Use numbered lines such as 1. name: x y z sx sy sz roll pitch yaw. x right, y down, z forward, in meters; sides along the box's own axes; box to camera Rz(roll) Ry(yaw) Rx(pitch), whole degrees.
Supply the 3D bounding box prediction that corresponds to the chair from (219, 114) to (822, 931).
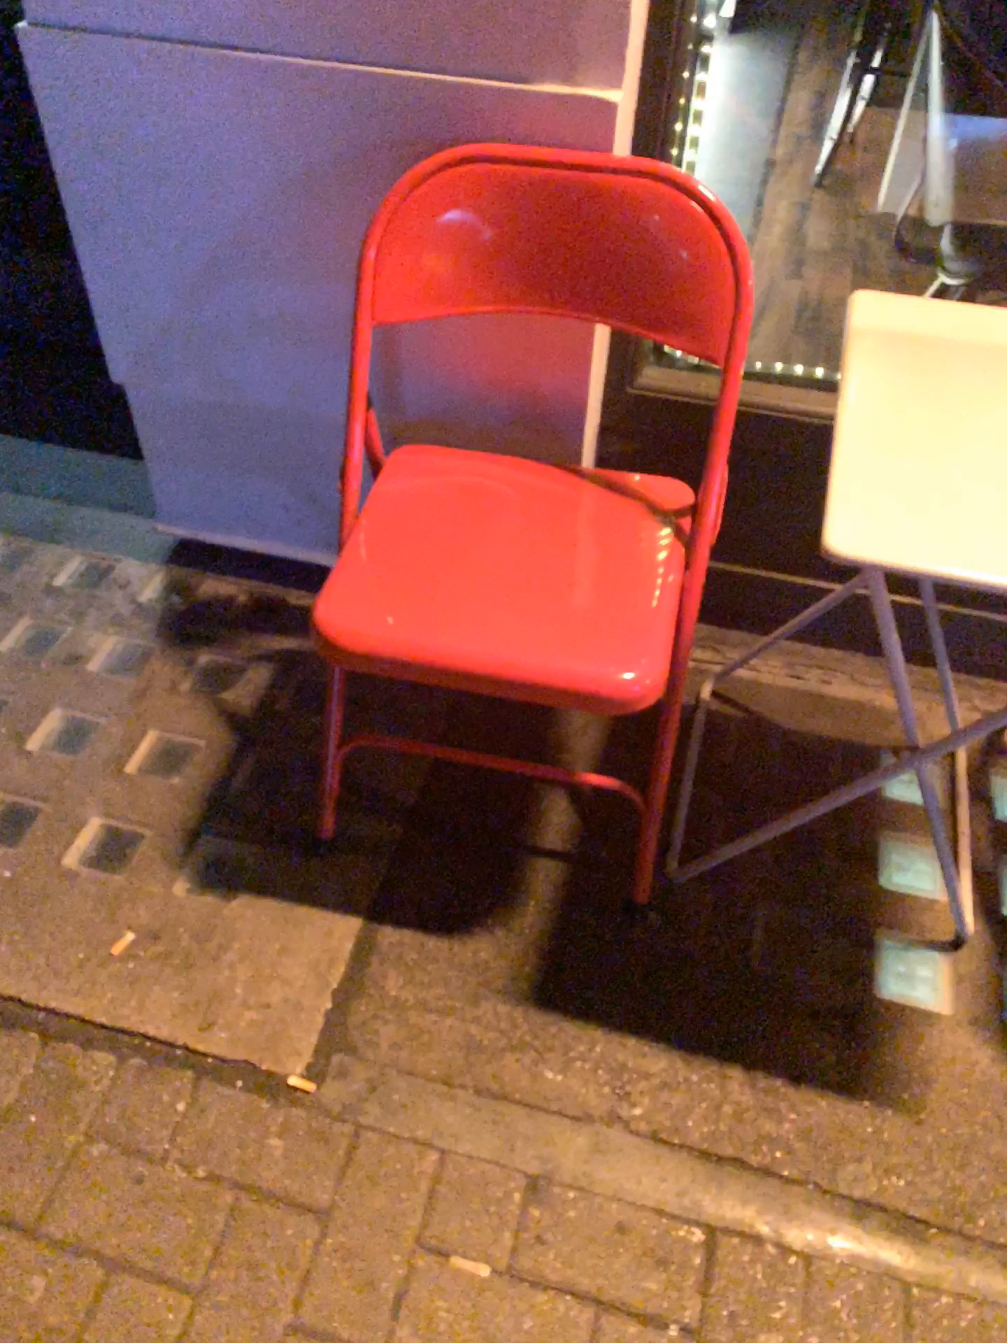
1. chair: 0.050 -0.161 1.229 0.470 0.743 0.535 11 46 8
